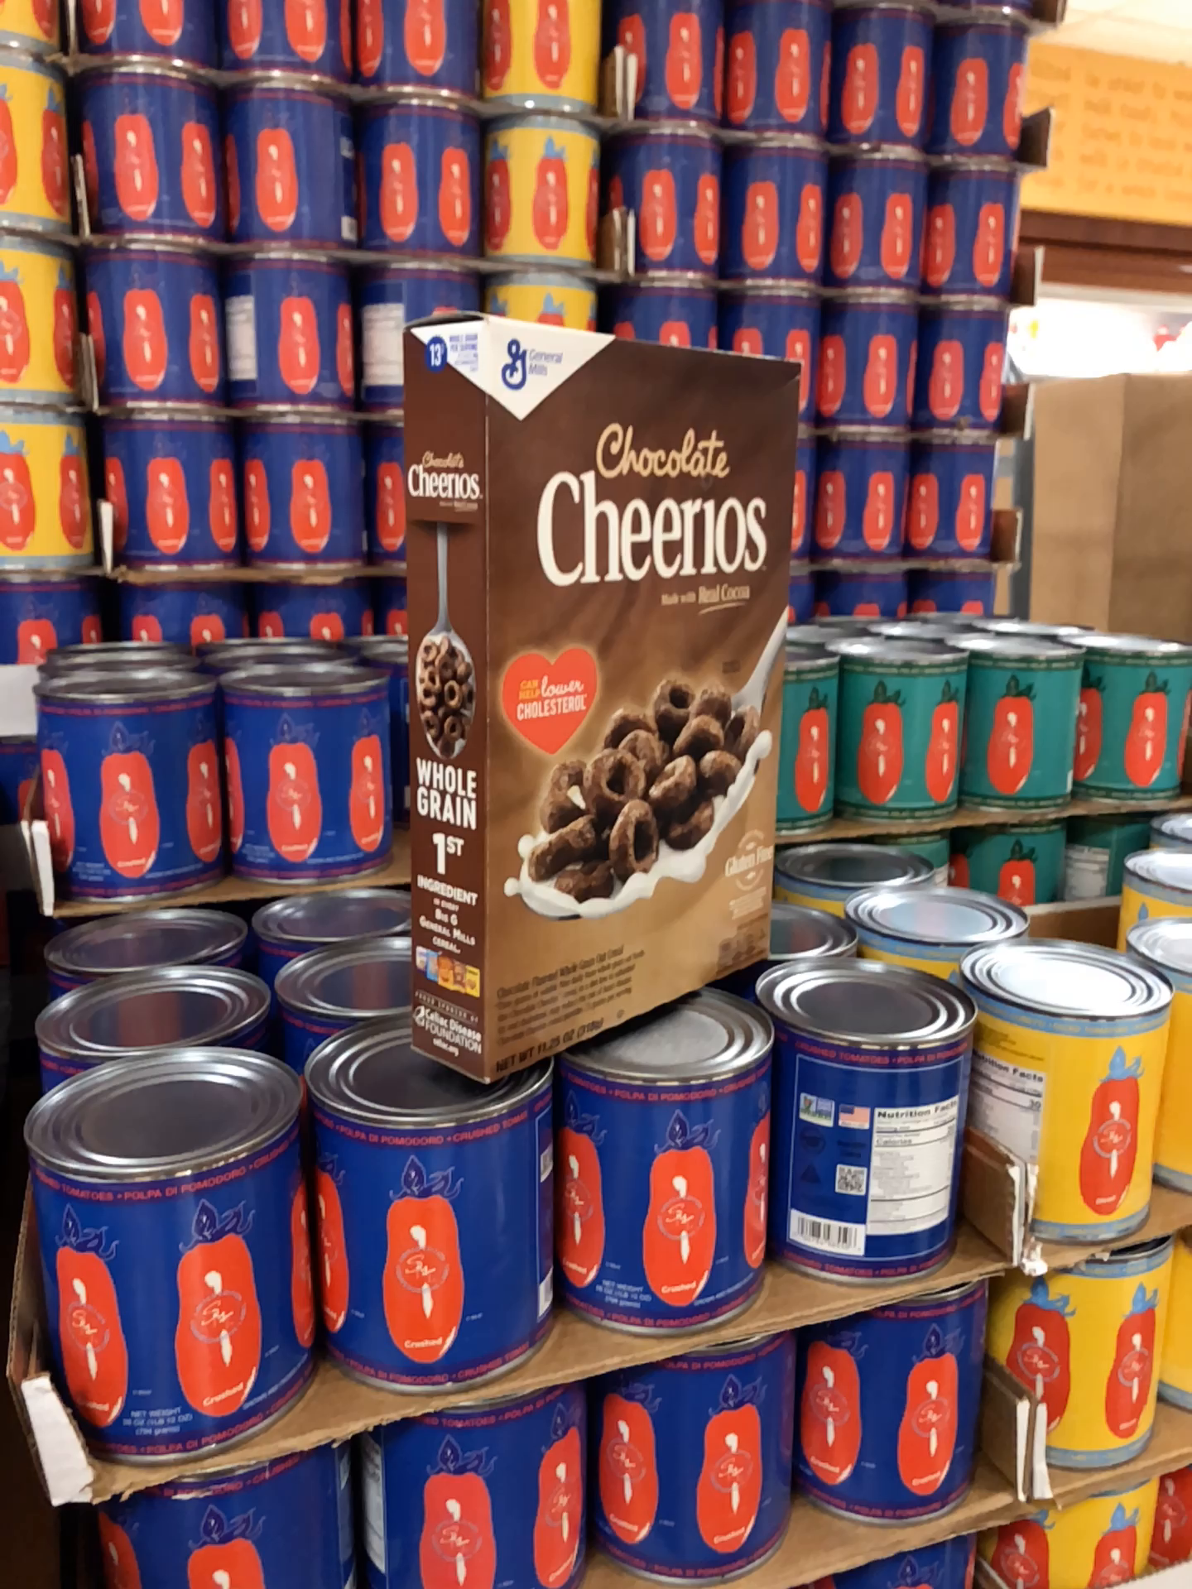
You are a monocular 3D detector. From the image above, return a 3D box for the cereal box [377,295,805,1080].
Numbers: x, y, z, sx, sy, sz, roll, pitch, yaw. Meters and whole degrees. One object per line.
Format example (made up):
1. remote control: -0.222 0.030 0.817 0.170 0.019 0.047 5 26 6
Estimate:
1. cereal box: 0.007 -0.051 0.559 0.050 0.279 0.211 10 16 38
